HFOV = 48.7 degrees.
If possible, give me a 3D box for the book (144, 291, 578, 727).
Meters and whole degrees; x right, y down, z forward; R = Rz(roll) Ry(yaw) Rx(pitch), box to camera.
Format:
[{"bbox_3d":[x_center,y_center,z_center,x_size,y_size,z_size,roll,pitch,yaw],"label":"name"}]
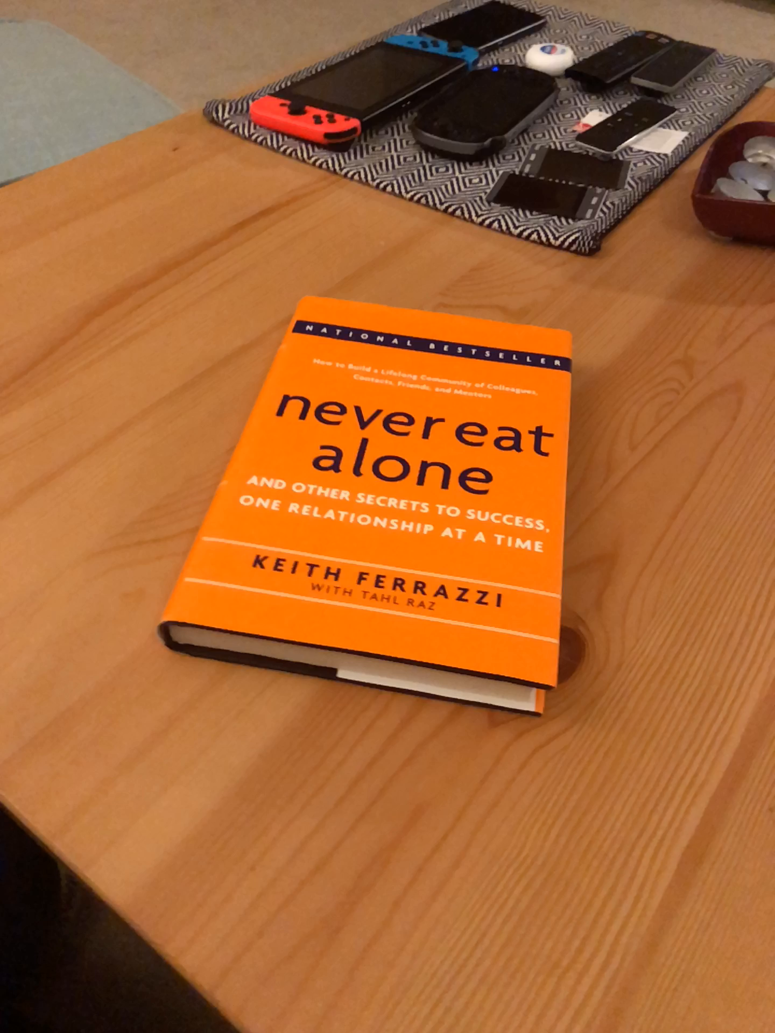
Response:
[{"bbox_3d":[0.005,-0.024,0.423,0.166,0.025,0.241,9,48,5],"label":"book"}]
